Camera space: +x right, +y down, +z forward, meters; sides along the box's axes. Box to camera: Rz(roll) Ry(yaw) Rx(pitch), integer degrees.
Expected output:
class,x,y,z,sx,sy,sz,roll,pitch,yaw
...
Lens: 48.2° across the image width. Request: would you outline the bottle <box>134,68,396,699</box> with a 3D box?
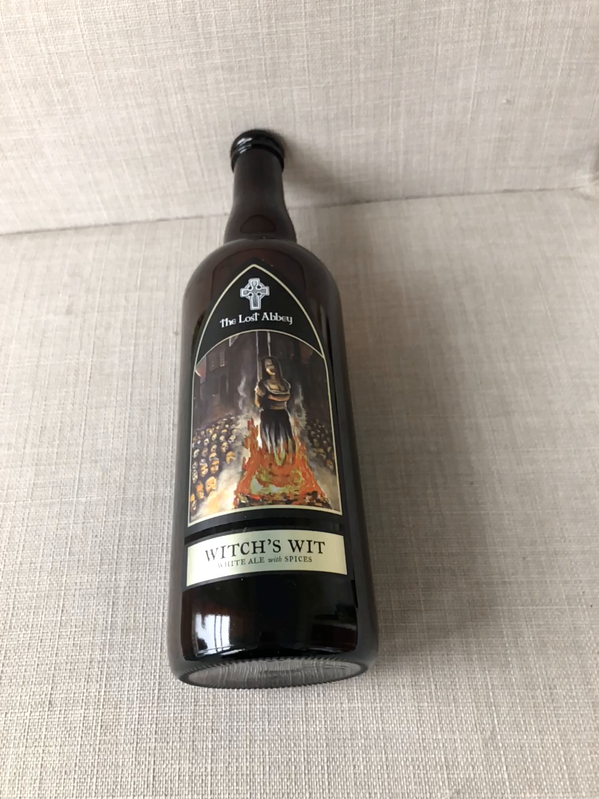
class,x,y,z,sx,sy,sz,roll,pitch,yaw
bottle,-0.017,-0.022,0.306,0.080,0.080,0.282,-4,62,1
